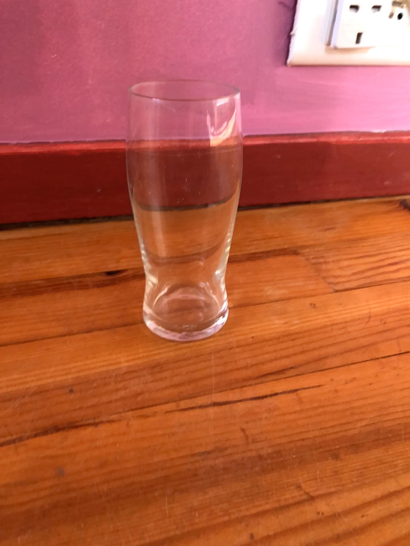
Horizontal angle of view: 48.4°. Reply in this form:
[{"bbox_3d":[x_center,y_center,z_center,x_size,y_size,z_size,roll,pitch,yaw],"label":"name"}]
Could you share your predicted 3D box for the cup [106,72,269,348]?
[{"bbox_3d":[-0.014,-0.038,0.272,0.064,0.143,0.061,2,30,-1],"label":"cup"}]
